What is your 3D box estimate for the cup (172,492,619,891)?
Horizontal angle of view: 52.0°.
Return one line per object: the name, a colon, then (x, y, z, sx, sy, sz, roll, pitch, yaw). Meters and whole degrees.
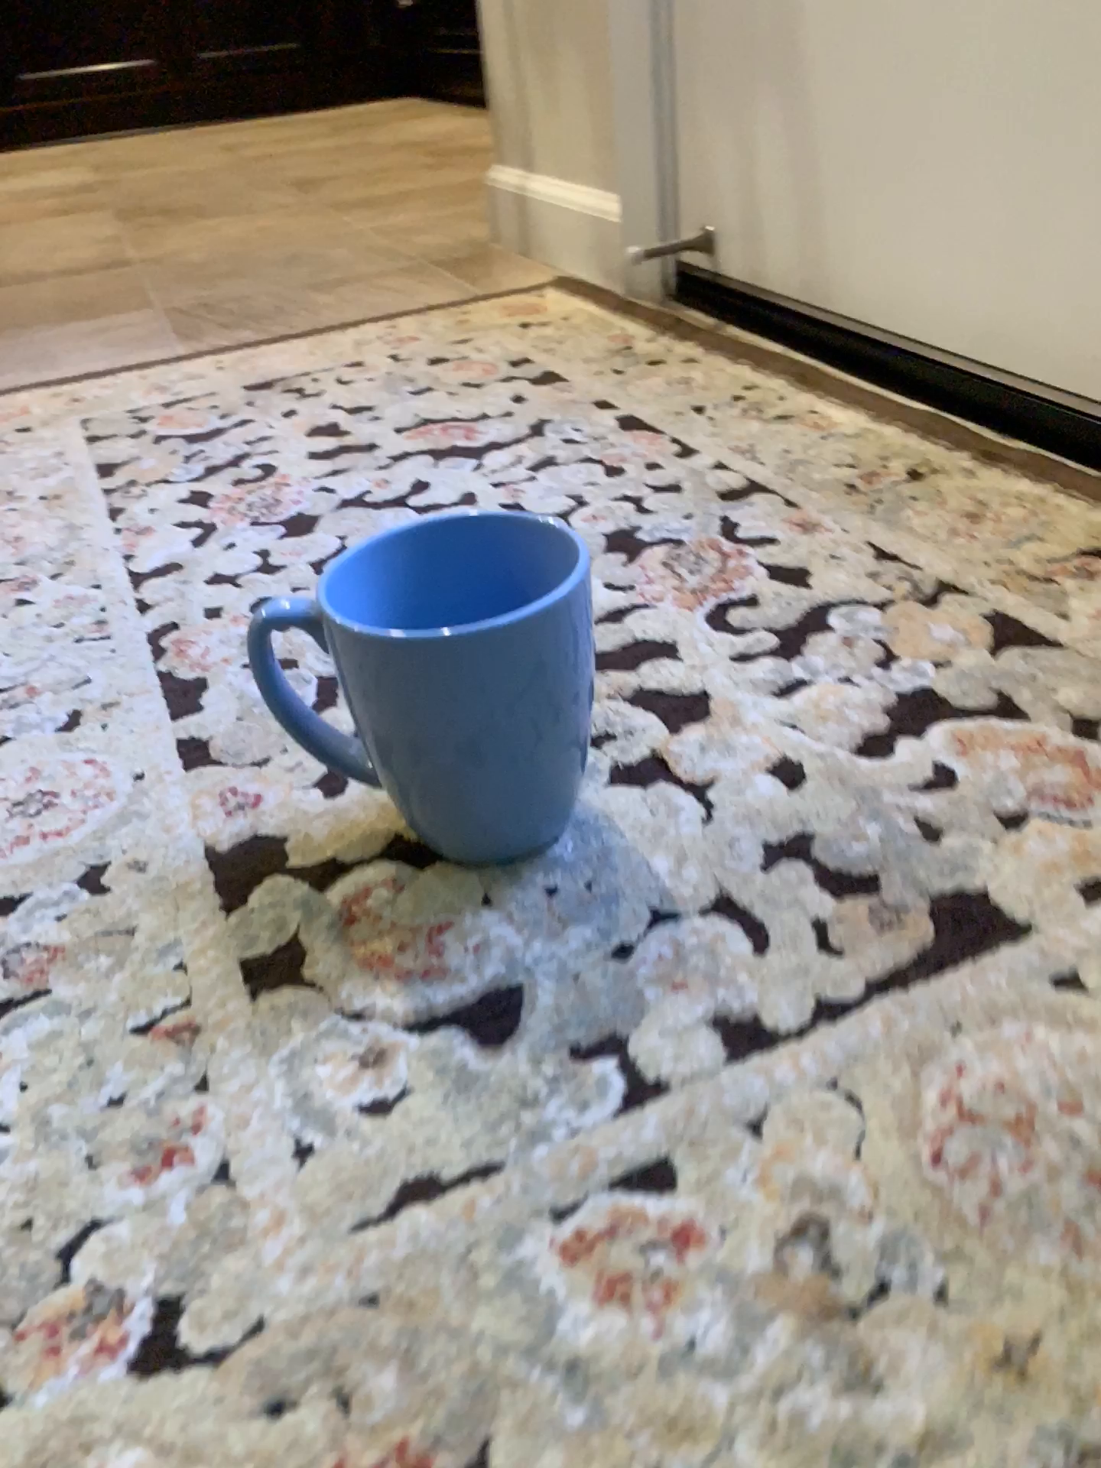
cup: (-0.042, -0.016, 0.375, 0.120, 0.089, 0.091, -4, 33, 4)
